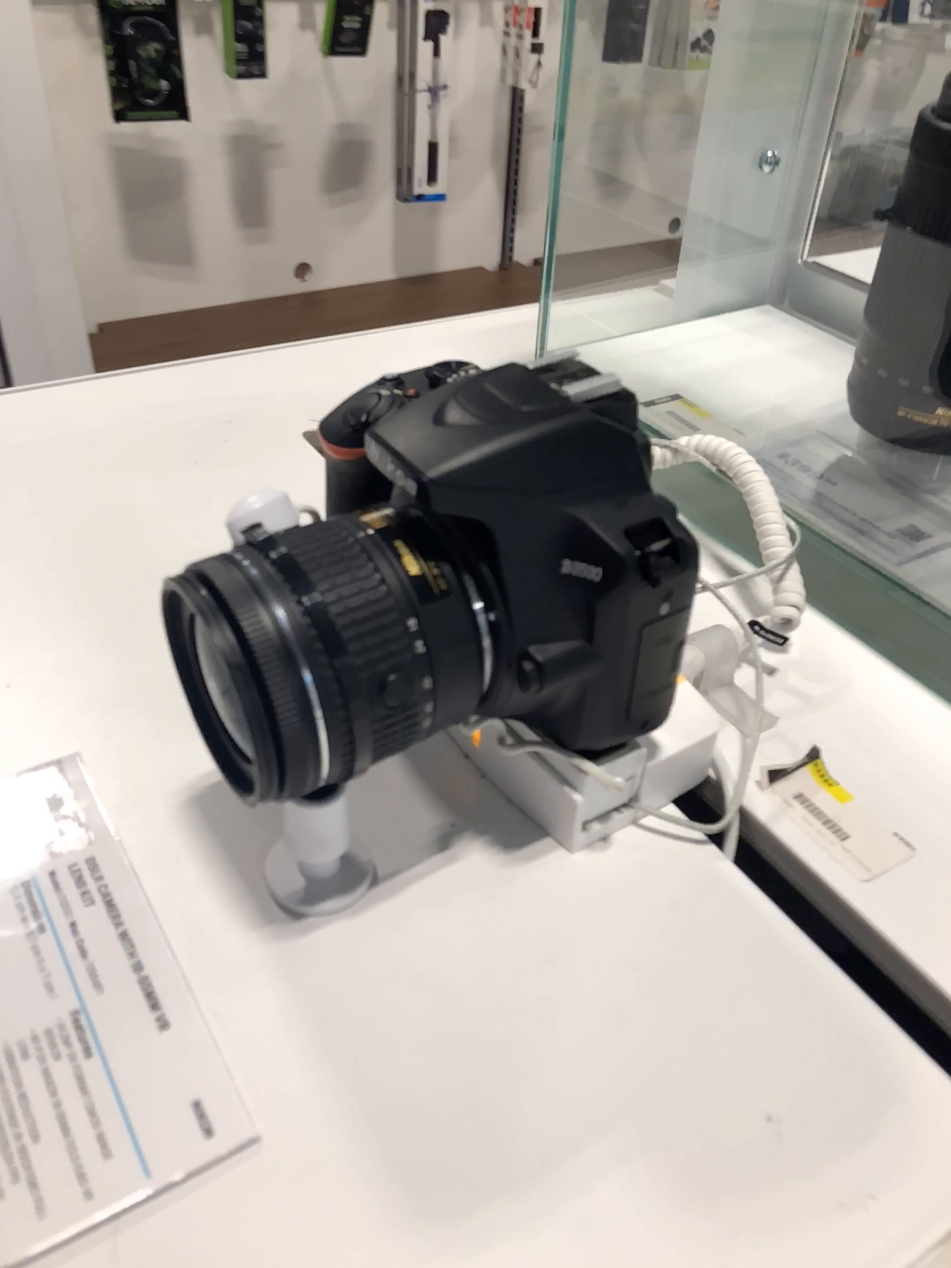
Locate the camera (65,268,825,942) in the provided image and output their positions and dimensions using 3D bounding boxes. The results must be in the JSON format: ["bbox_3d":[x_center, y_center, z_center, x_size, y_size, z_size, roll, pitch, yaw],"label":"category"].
[{"bbox_3d":[-0.014,-0.023,0.276,0.130,0.089,0.132,-20,43,-29],"label":"camera"}]
